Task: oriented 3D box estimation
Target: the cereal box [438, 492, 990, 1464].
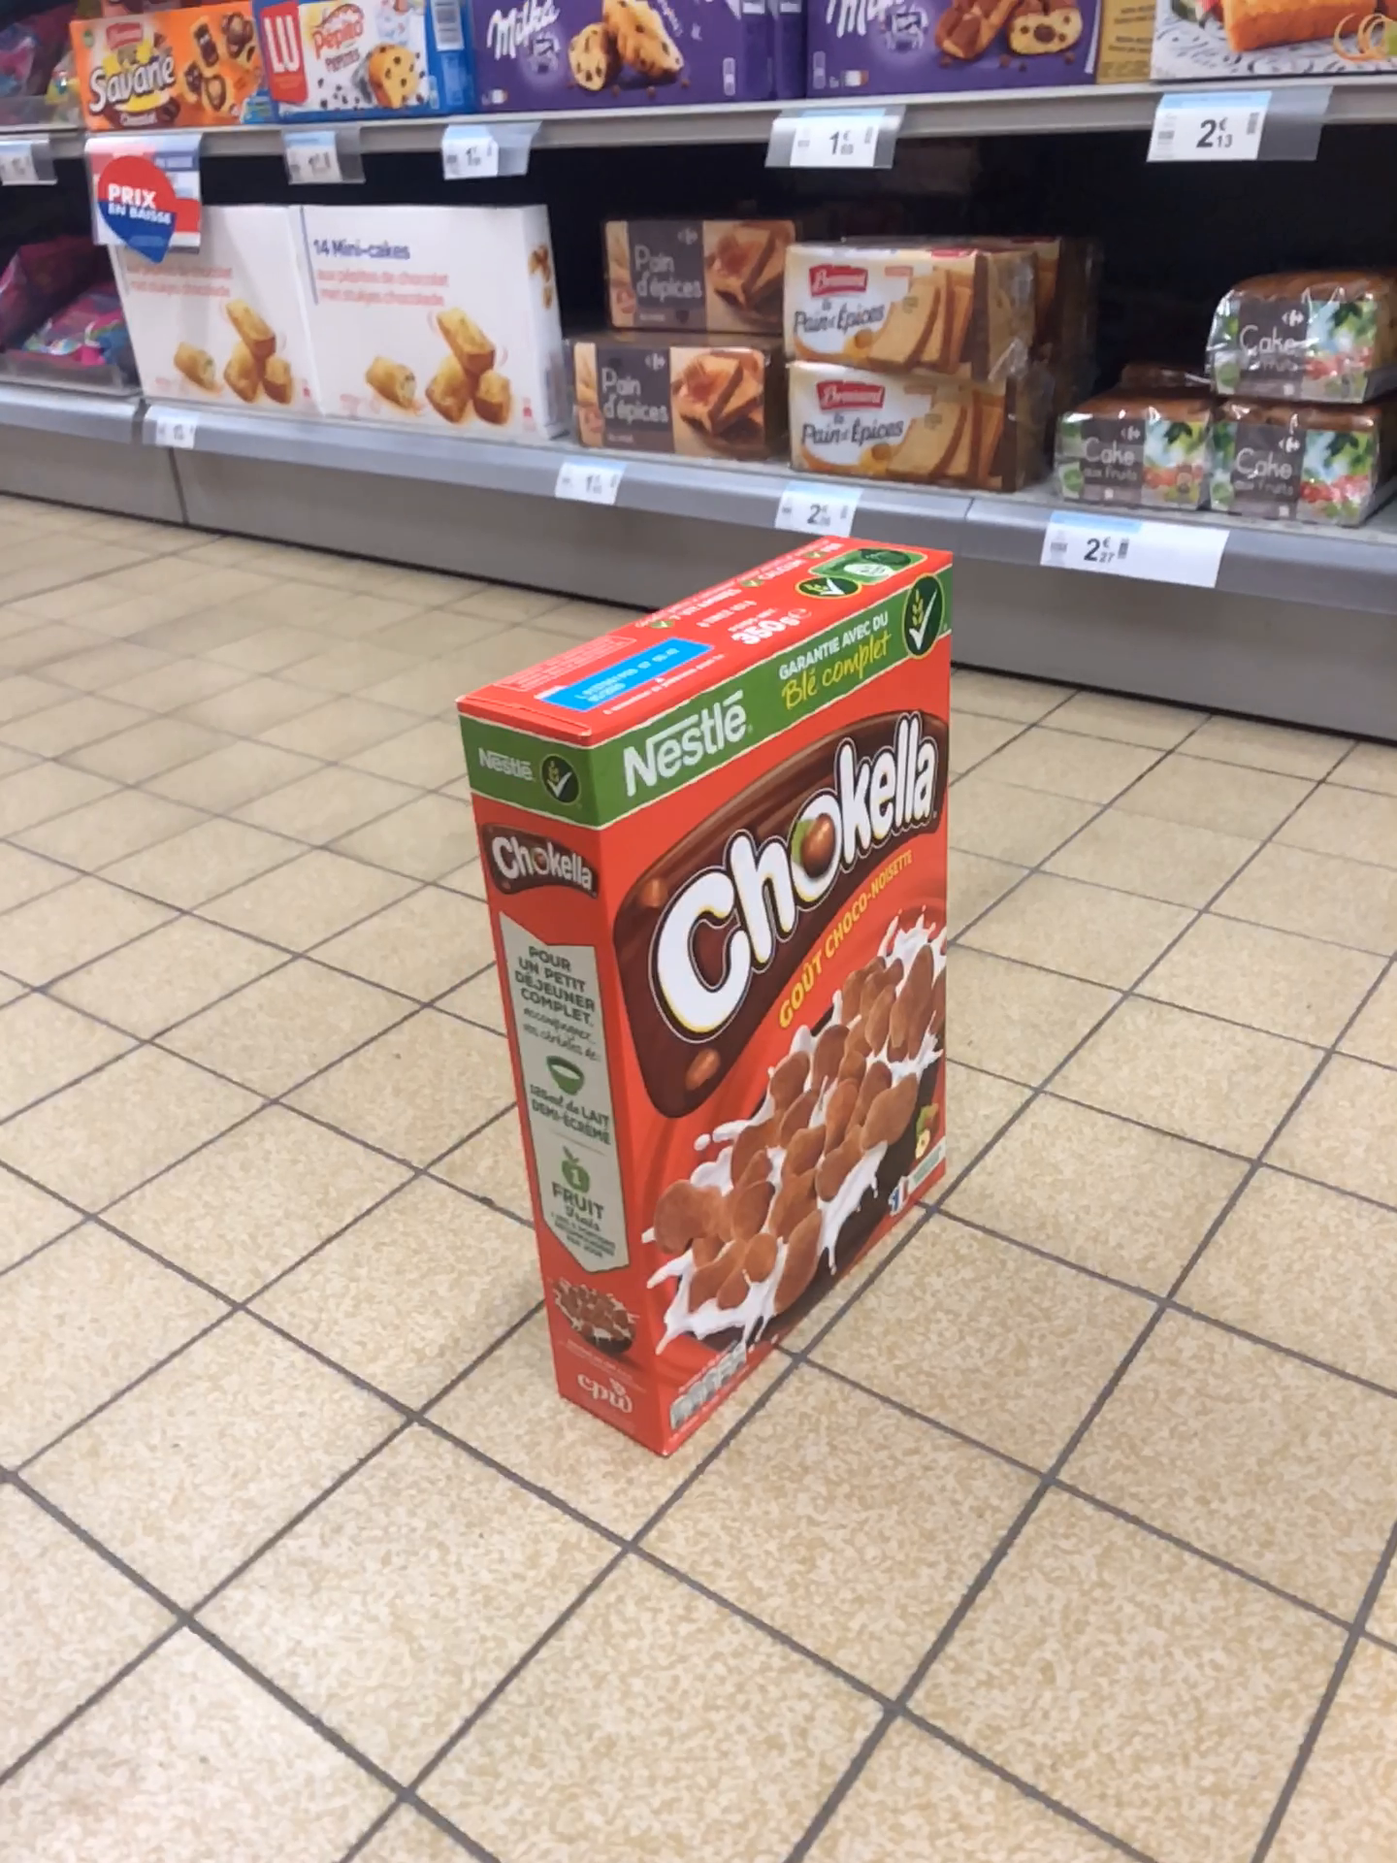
[{"bbox_3d":[0.022,0.011,0.541,0.060,0.278,0.201,18,35,35],"label":"cereal box"}]
